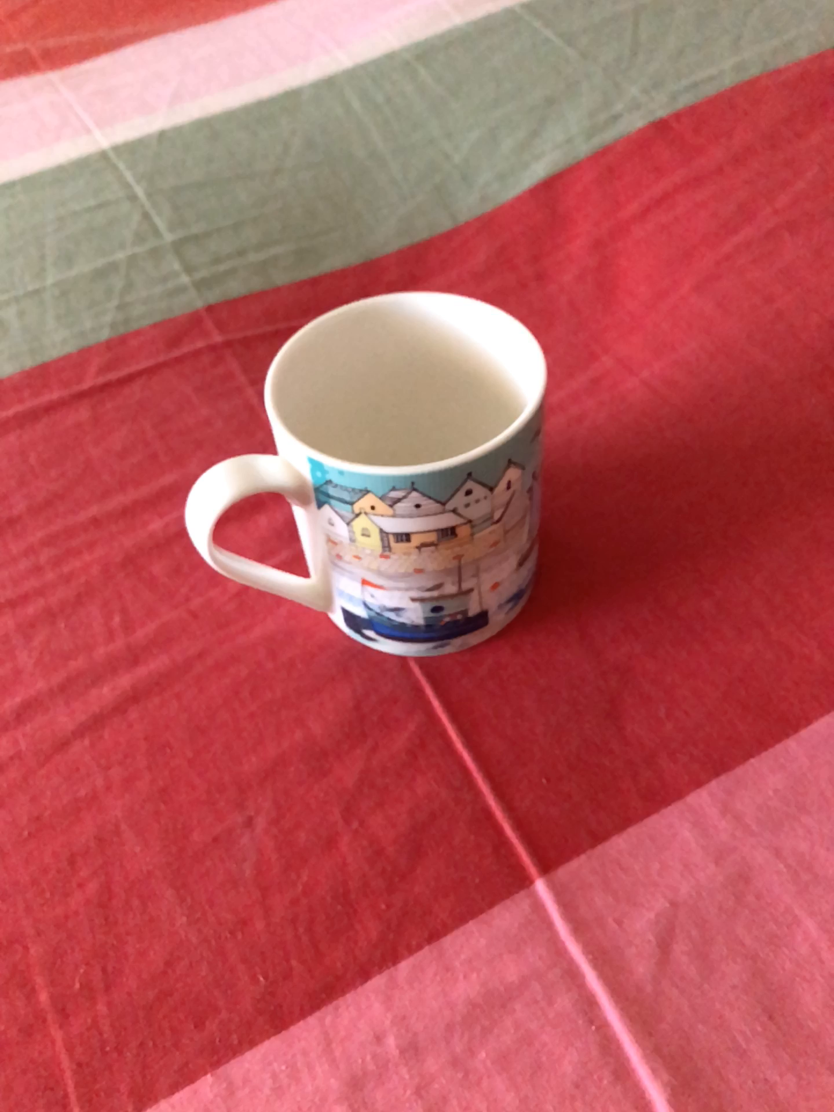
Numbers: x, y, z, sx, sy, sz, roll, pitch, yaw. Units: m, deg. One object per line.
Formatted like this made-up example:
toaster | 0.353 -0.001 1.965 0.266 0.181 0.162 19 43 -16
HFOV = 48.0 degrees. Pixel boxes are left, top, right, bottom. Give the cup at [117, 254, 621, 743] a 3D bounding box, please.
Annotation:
cup | -0.015 -0.022 0.302 0.120 0.080 0.094 -23 51 -13
